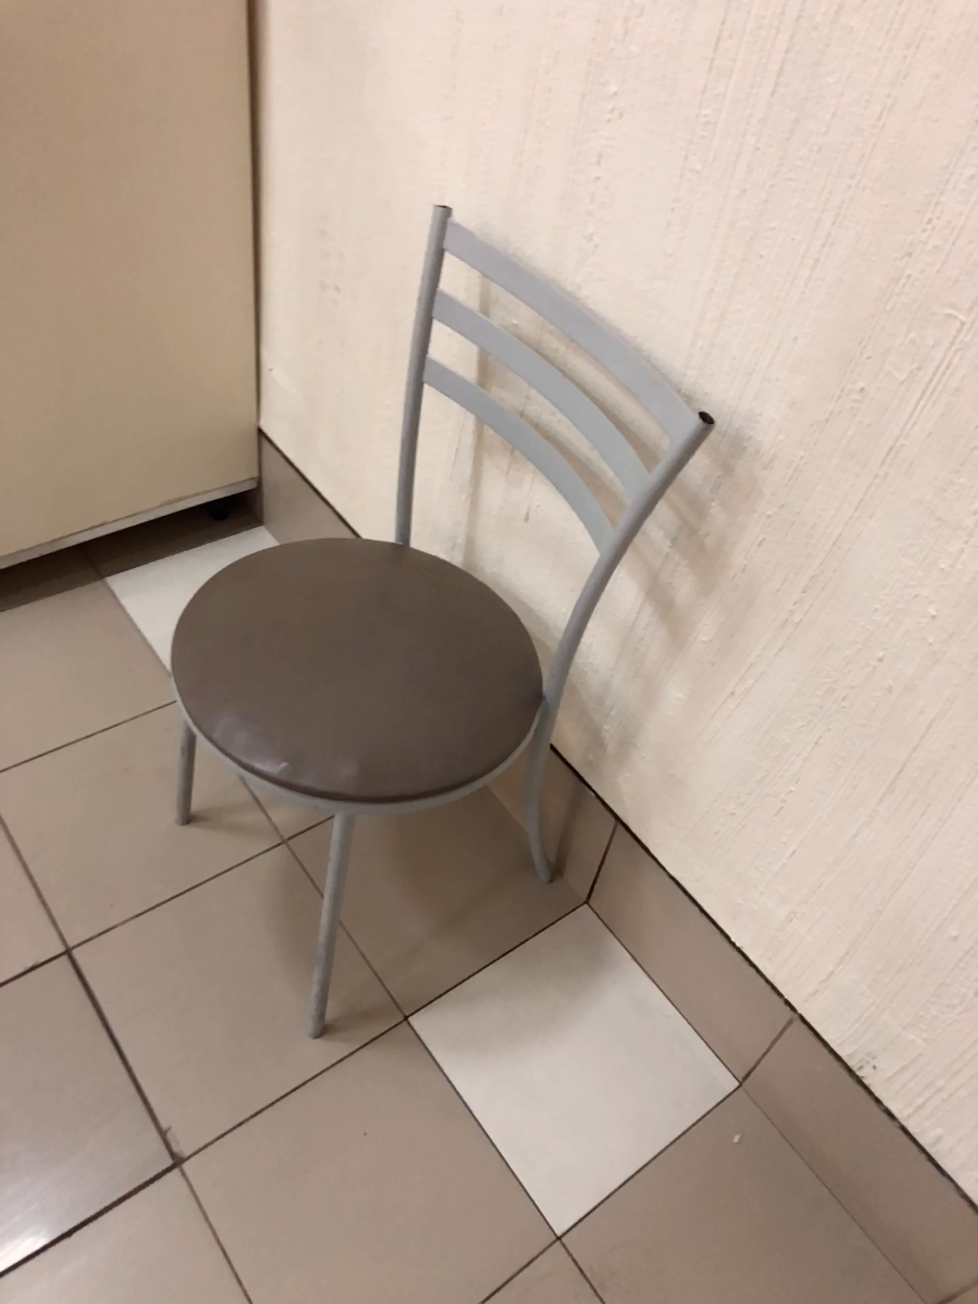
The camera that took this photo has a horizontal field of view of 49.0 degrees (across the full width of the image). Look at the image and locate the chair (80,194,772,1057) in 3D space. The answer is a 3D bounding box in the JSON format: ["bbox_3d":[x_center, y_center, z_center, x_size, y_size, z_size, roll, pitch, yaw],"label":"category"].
[{"bbox_3d":[-0.108,-0.005,1.187,0.422,0.765,0.431,-25,56,-30],"label":"chair"}]
